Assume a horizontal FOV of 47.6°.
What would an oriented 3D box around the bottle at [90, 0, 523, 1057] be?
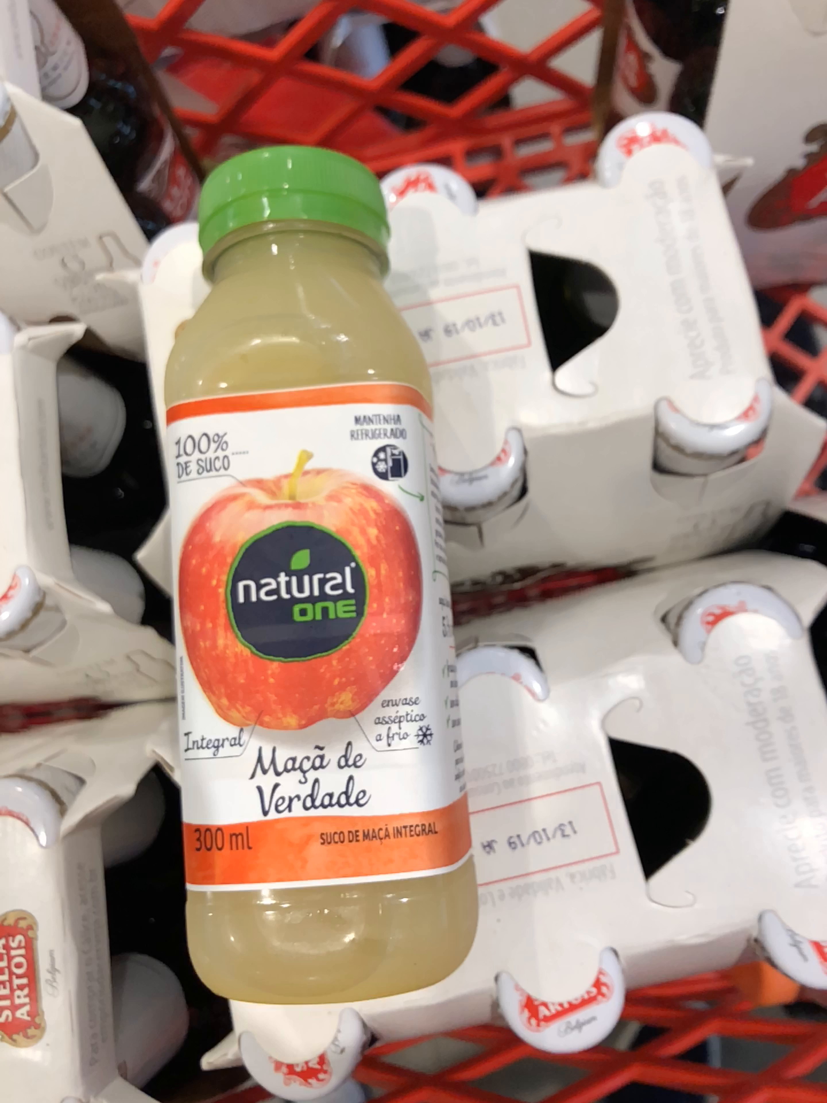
[{"bbox_3d":[-0.019,-0.012,0.181,0.060,0.060,0.180,-6,79,5],"label":"bottle"}]
